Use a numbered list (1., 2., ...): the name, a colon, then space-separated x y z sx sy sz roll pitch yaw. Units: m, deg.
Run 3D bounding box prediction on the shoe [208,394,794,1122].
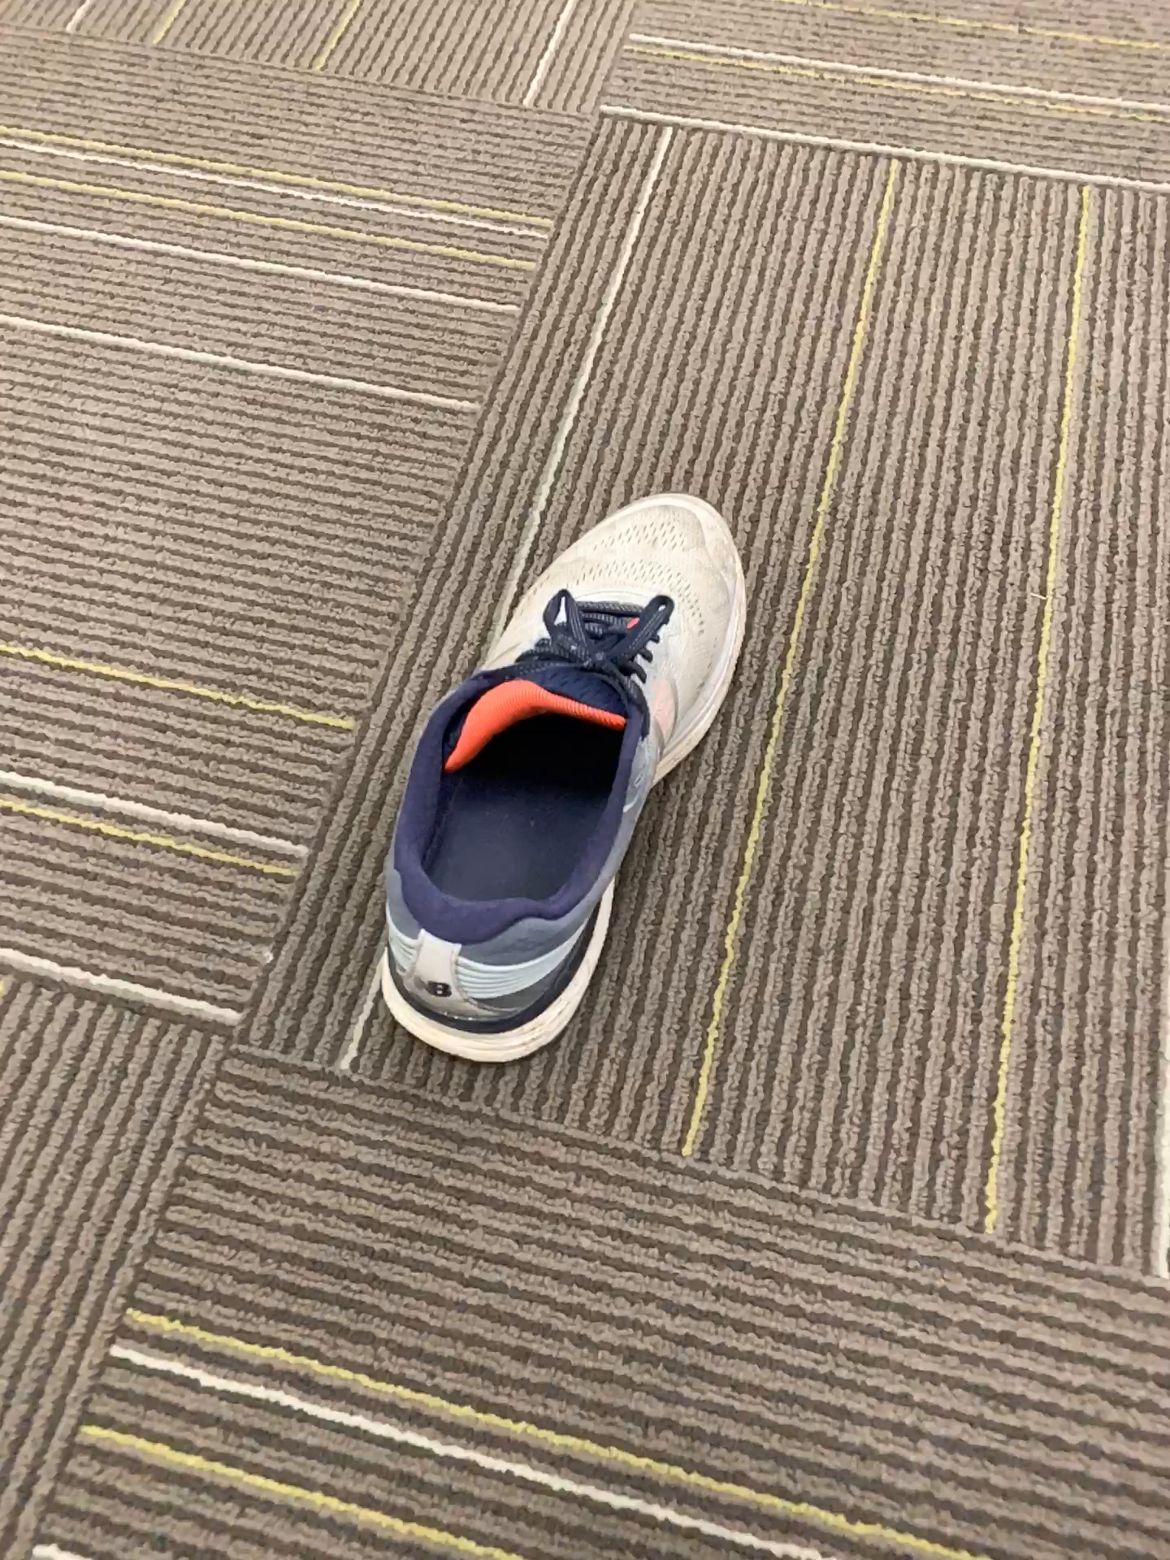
1. shoe: -0.022 -0.022 0.522 0.130 0.080 0.290 20 64 11
